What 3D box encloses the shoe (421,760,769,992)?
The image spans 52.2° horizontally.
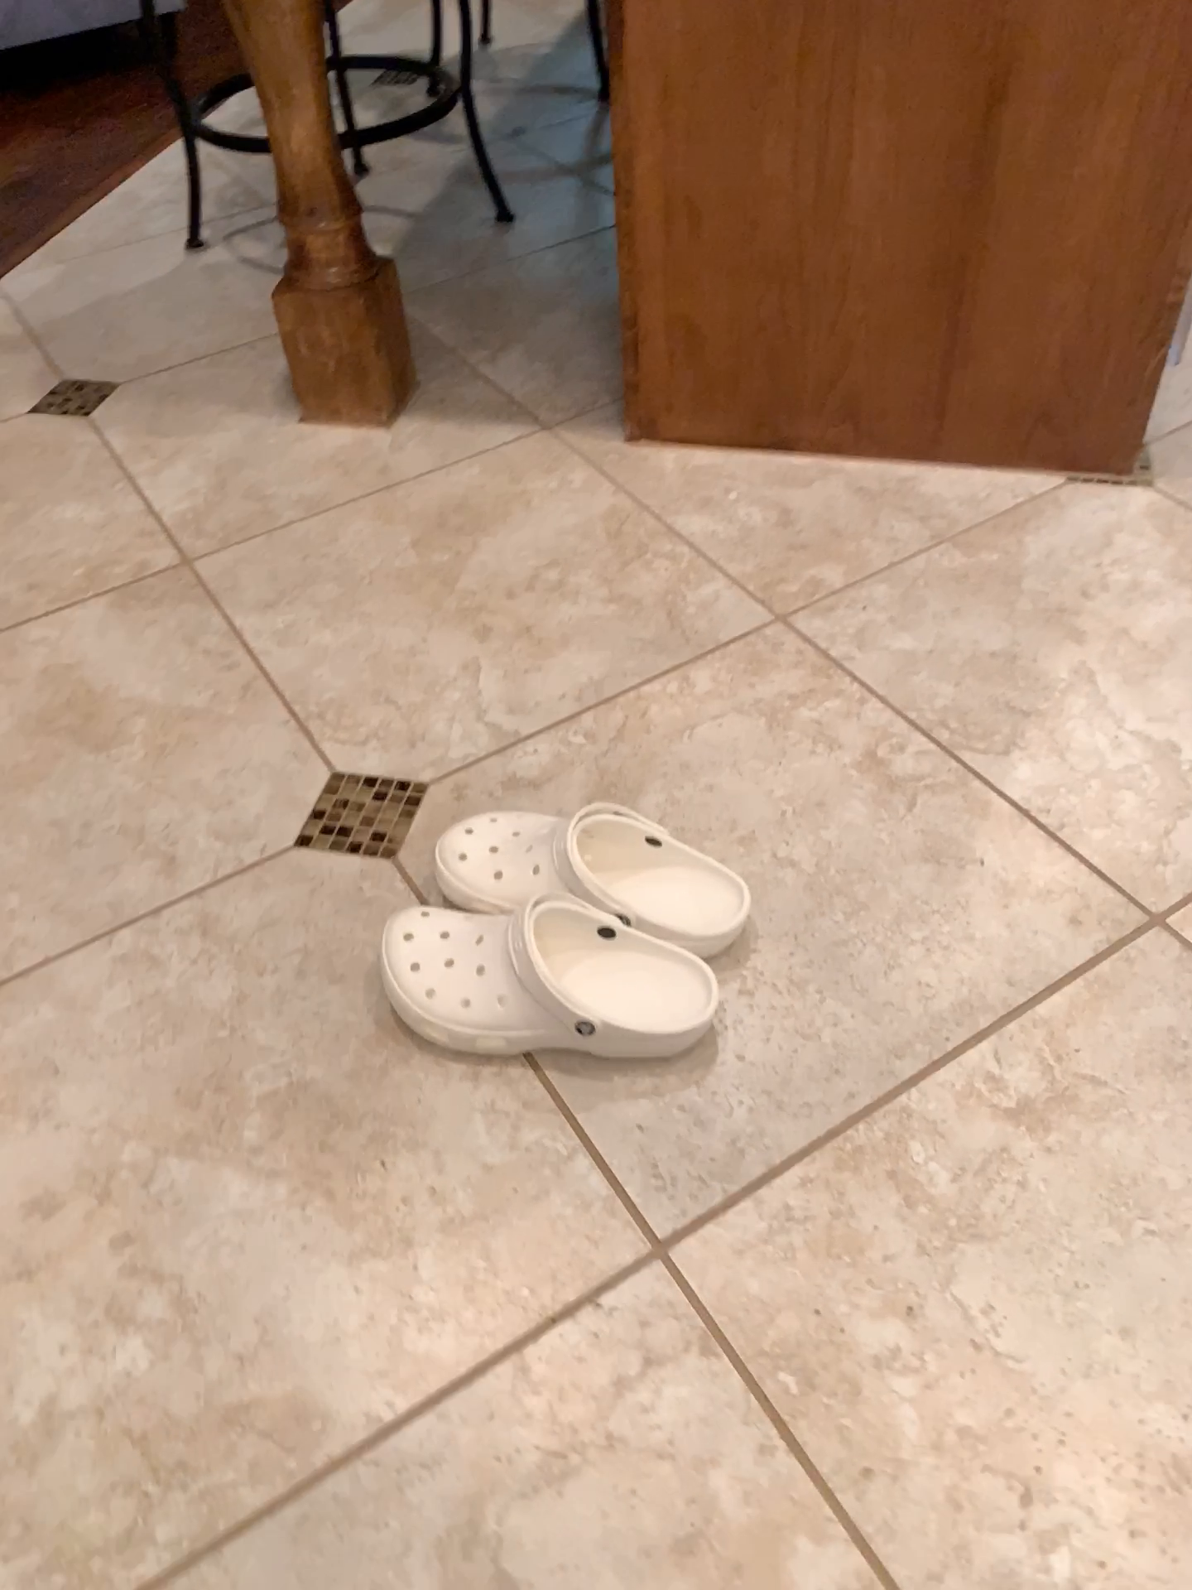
[{"bbox_3d":[0.003,0.064,1.028,0.261,0.073,0.130,11,48,15],"label":"shoe"}]

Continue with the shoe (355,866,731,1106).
[{"bbox_3d":[-0.036,0.144,0.940,0.261,0.073,0.119,9,47,13],"label":"shoe"}]
